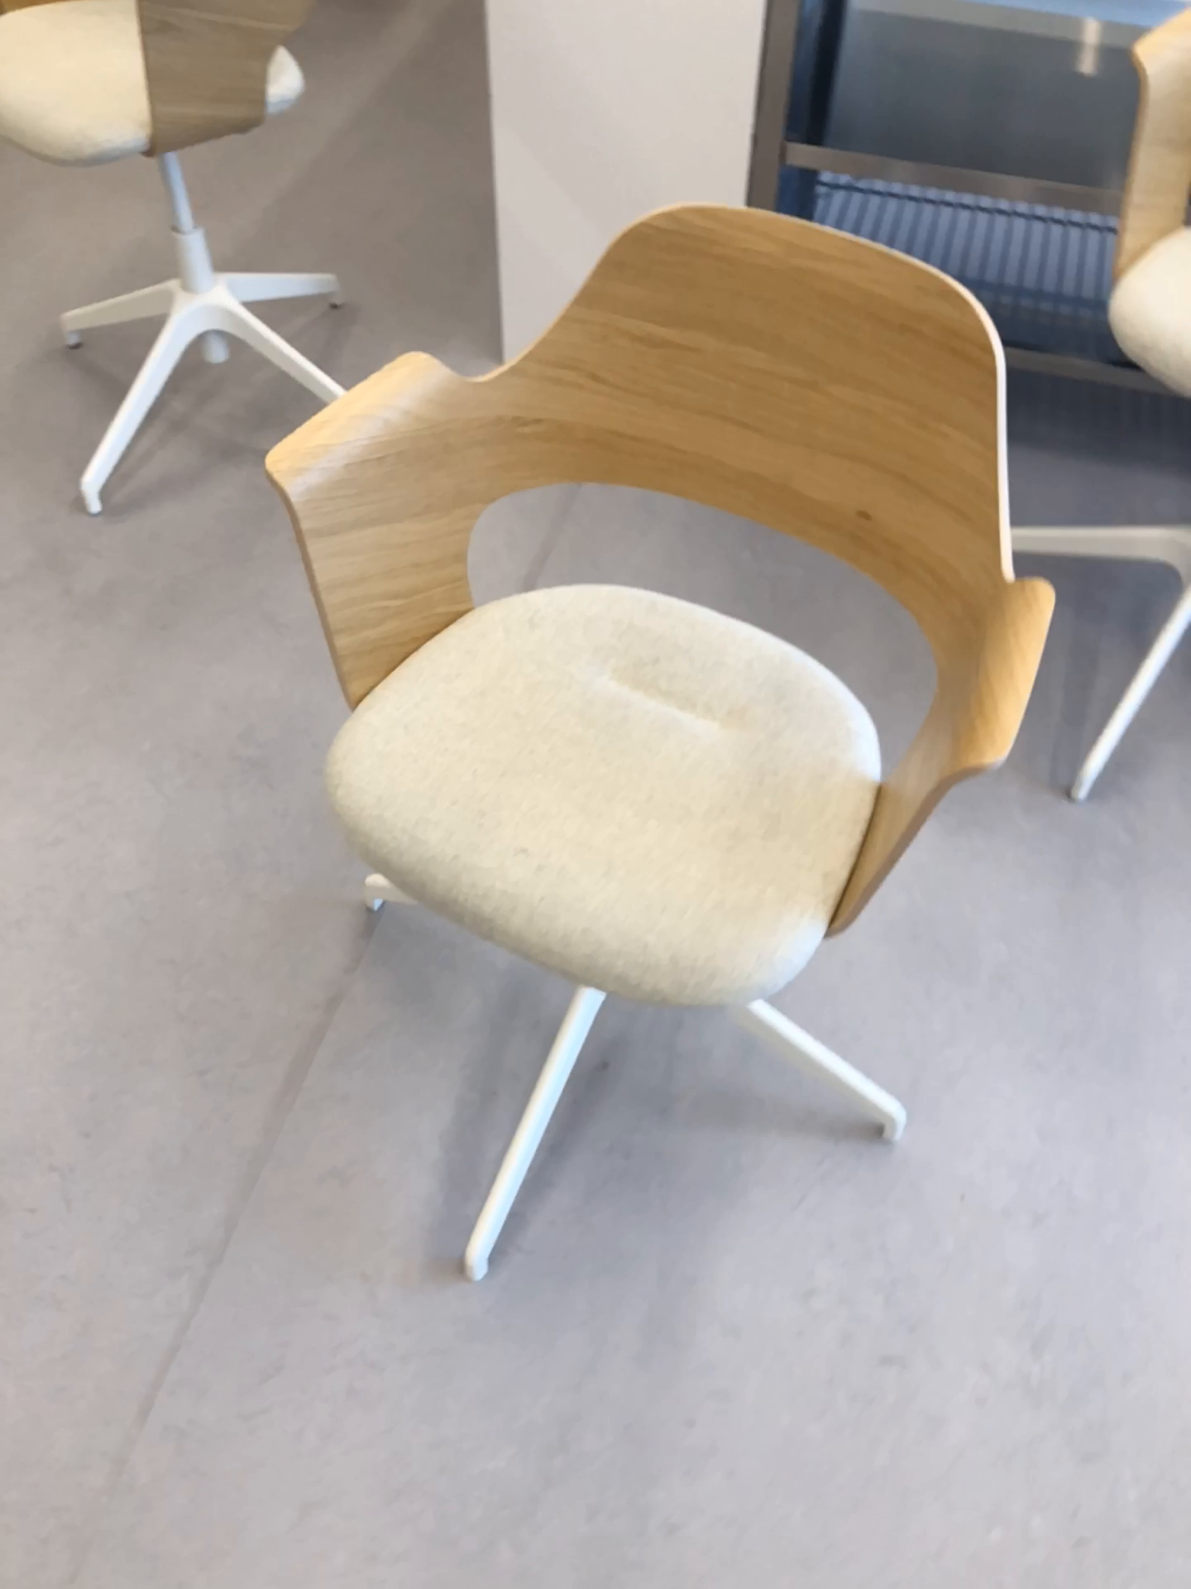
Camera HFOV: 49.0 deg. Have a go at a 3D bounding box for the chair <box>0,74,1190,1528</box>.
[{"bbox_3d":[0.004,0.007,1.115,0.712,0.776,0.662,33,58,23],"label":"chair"}]
